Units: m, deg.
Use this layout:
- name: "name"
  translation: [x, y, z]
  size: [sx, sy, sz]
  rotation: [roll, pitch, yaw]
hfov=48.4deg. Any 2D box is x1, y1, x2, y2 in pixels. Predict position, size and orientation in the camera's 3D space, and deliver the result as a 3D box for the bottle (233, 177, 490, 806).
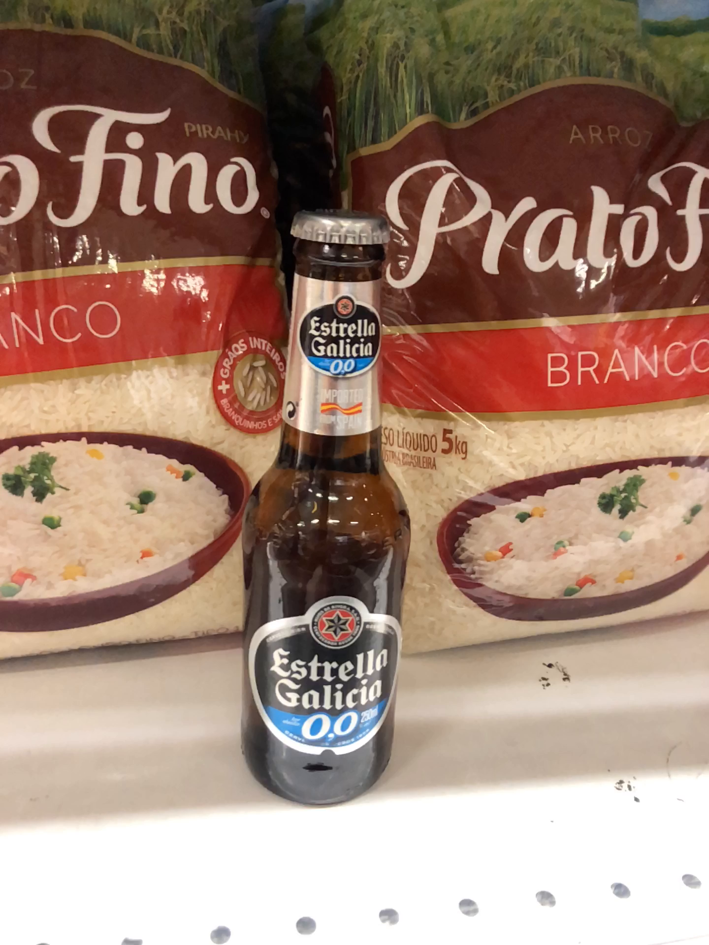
- name: "bottle"
  translation: [-0.006, 0.010, 0.251]
  size: [0.060, 0.189, 0.060]
  rotation: [4, 23, -2]
